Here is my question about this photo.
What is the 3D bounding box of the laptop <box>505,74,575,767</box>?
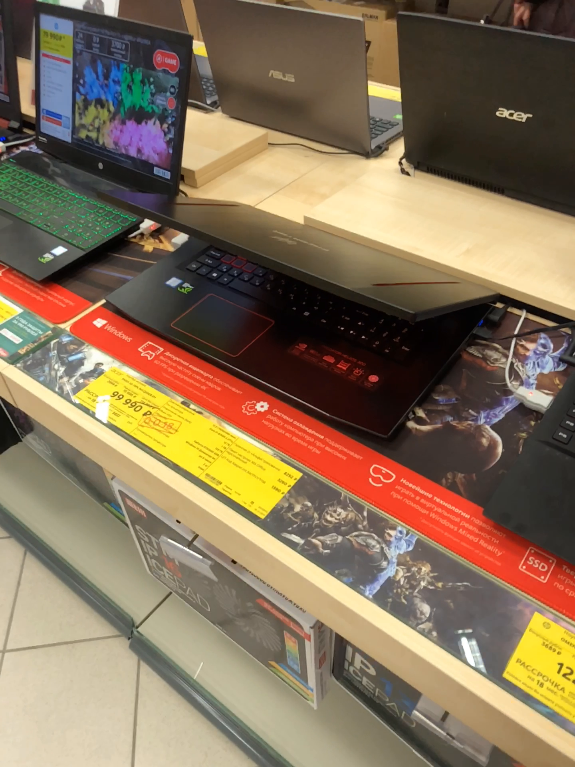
[{"bbox_3d":[0.435,-0.003,0.475,0.378,0.251,0.356,27,53,28],"label":"laptop"}]

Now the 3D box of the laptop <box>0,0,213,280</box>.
[{"bbox_3d":[-0.380,-0.396,0.959,0.351,0.230,0.343,28,52,27],"label":"laptop"}]

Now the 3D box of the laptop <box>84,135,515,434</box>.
[{"bbox_3d":[0.007,-0.150,0.759,0.420,0.124,0.261,25,51,28],"label":"laptop"}]
